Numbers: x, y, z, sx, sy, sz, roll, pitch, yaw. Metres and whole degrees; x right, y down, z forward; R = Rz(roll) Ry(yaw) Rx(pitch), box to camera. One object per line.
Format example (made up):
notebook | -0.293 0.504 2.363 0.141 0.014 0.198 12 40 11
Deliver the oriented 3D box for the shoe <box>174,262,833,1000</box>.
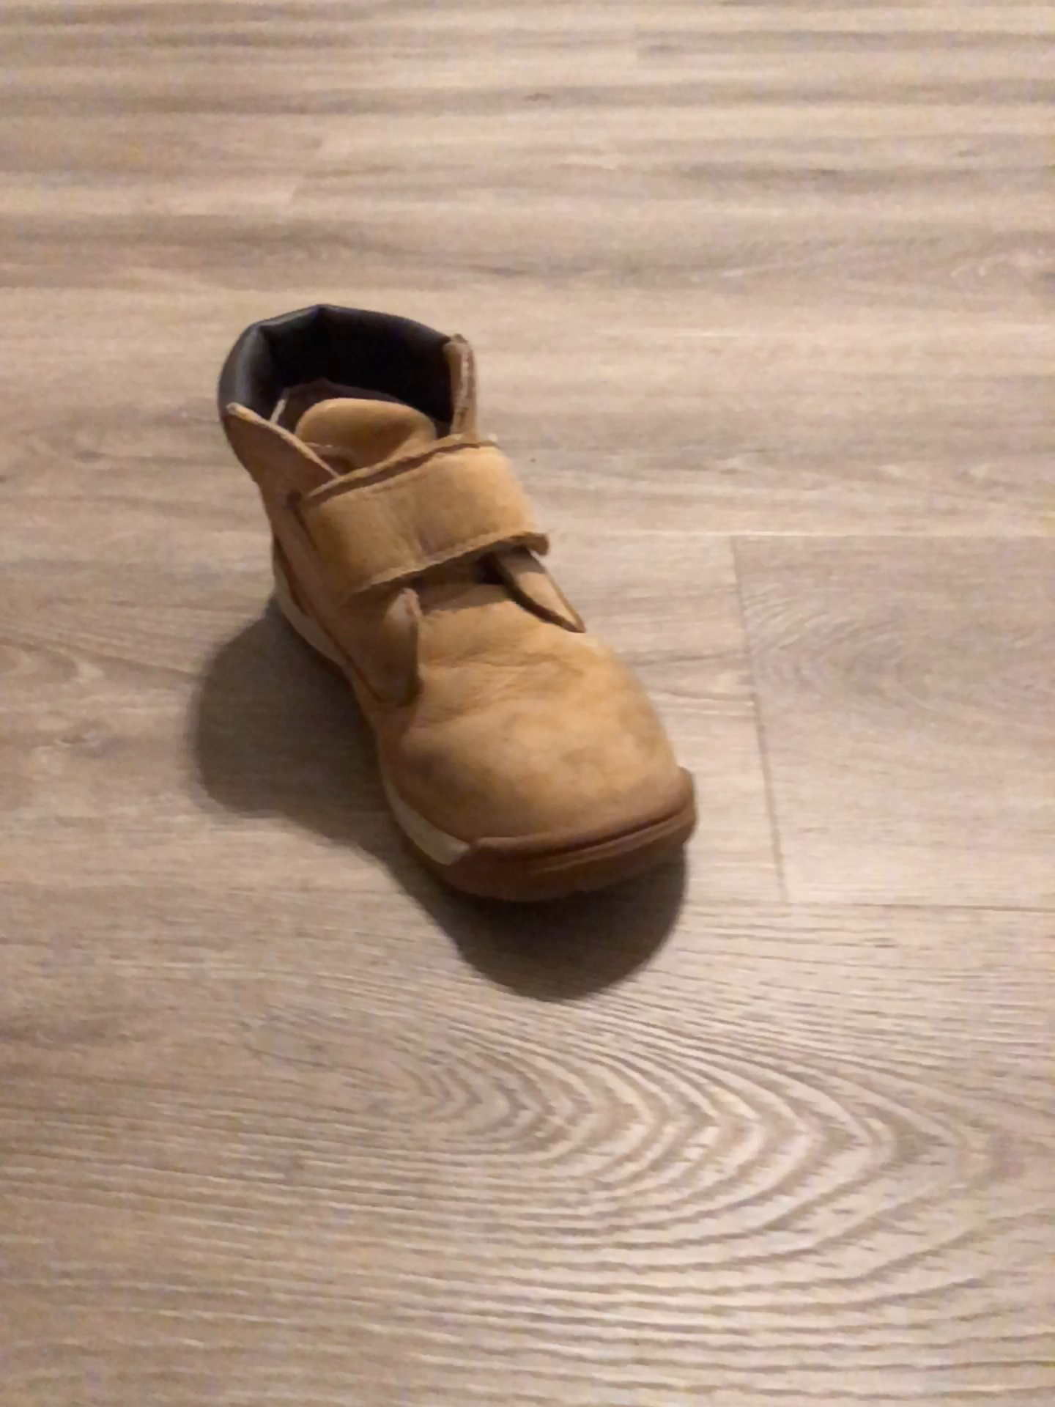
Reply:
shoe | -0.020 -0.037 0.338 0.090 0.099 0.201 -20 43 -20
